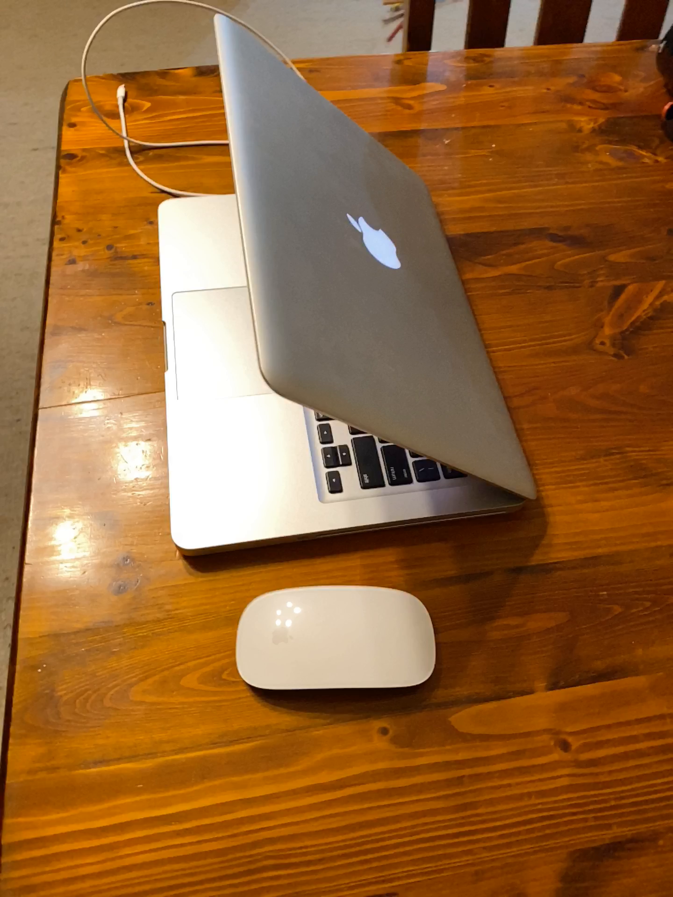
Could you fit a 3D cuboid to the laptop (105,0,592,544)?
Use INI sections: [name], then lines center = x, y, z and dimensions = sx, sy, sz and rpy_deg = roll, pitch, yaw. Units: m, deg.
[laptop]
center = -0.017, -0.125, 0.434
dimensions = 0.211, 0.136, 0.312
rpy_deg = -7, 58, -6
